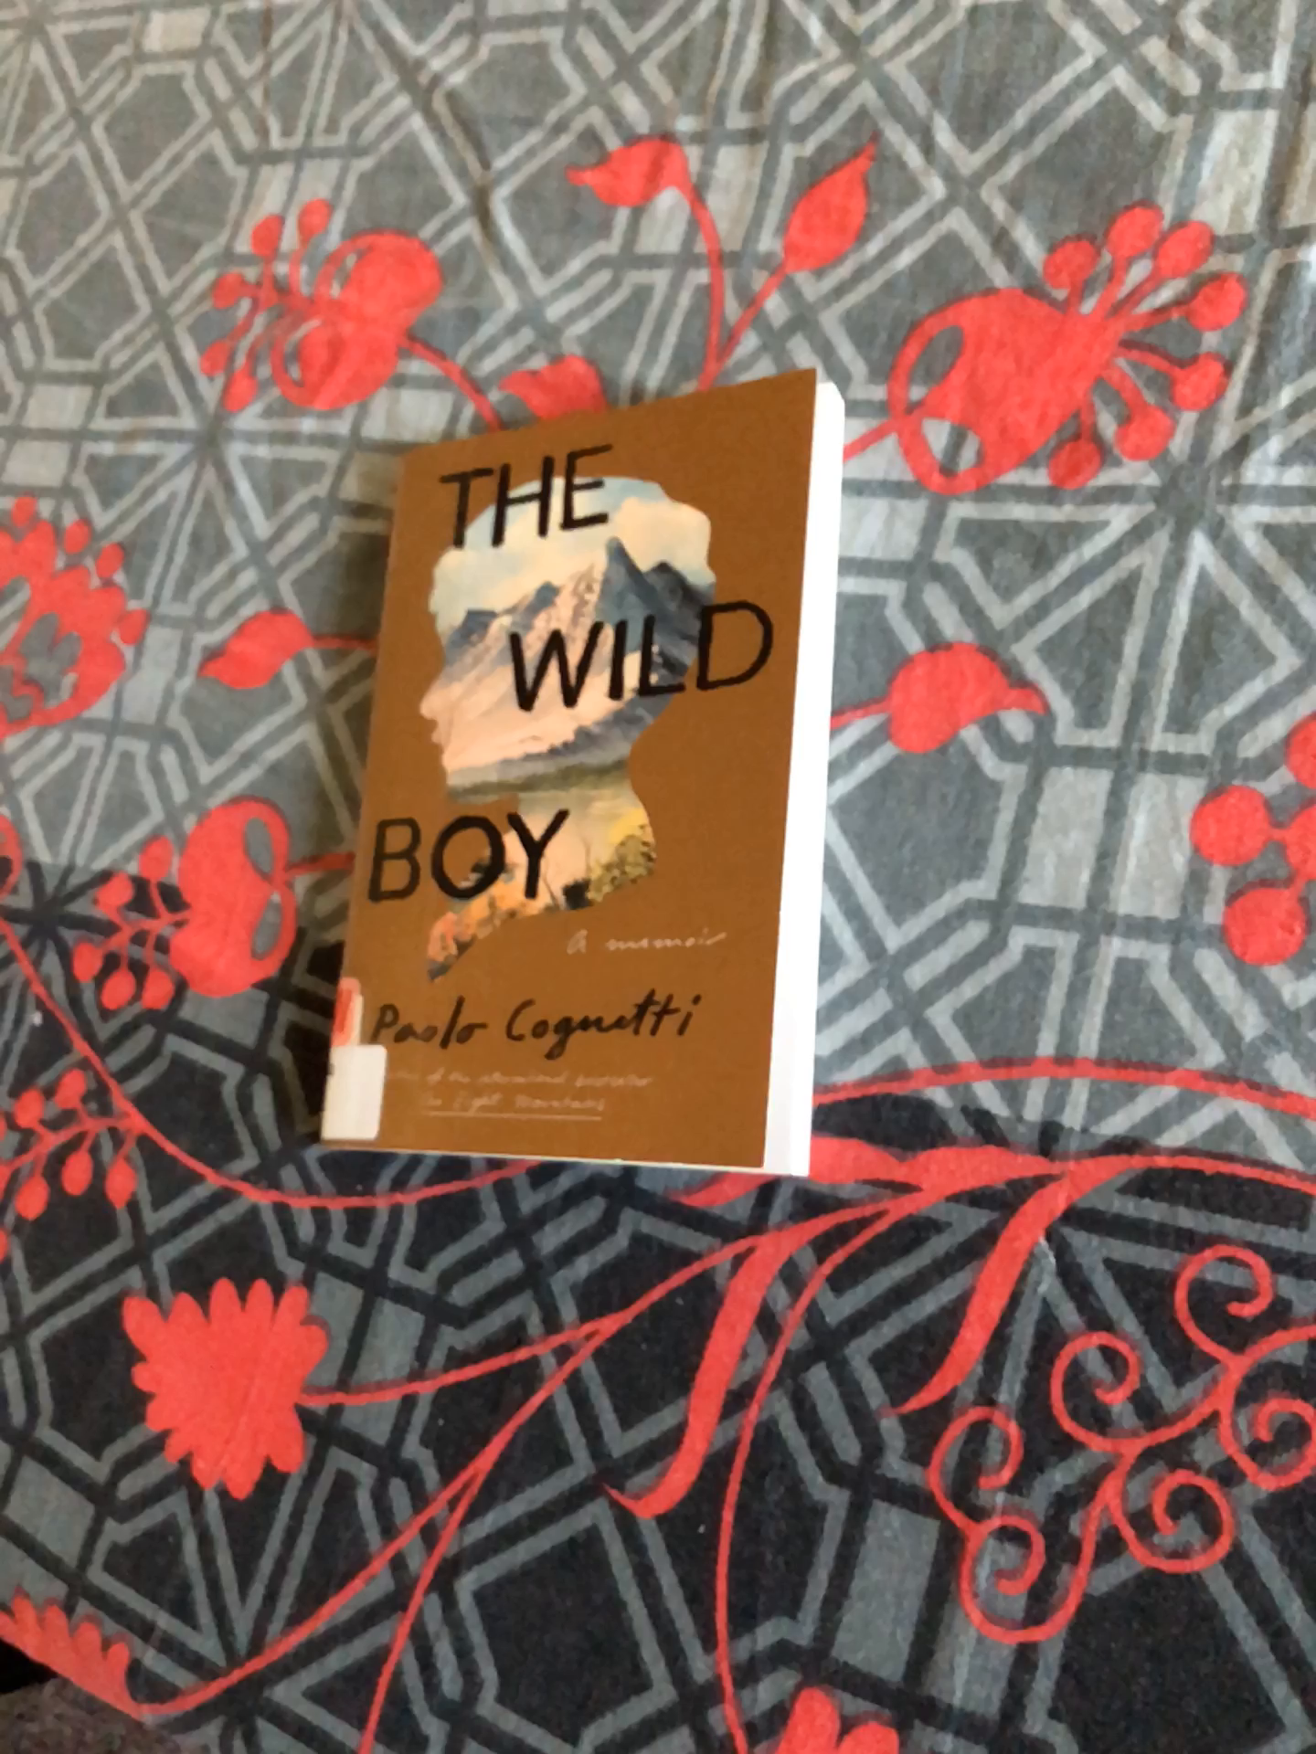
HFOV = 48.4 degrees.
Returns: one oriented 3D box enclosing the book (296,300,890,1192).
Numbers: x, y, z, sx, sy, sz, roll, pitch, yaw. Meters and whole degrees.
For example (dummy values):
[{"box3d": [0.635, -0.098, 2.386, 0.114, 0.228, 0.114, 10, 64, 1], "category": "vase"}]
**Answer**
[{"box3d": [-0.017, -0.035, 0.408, 0.150, 0.030, 0.230, -3, 74, 28], "category": "book"}]
